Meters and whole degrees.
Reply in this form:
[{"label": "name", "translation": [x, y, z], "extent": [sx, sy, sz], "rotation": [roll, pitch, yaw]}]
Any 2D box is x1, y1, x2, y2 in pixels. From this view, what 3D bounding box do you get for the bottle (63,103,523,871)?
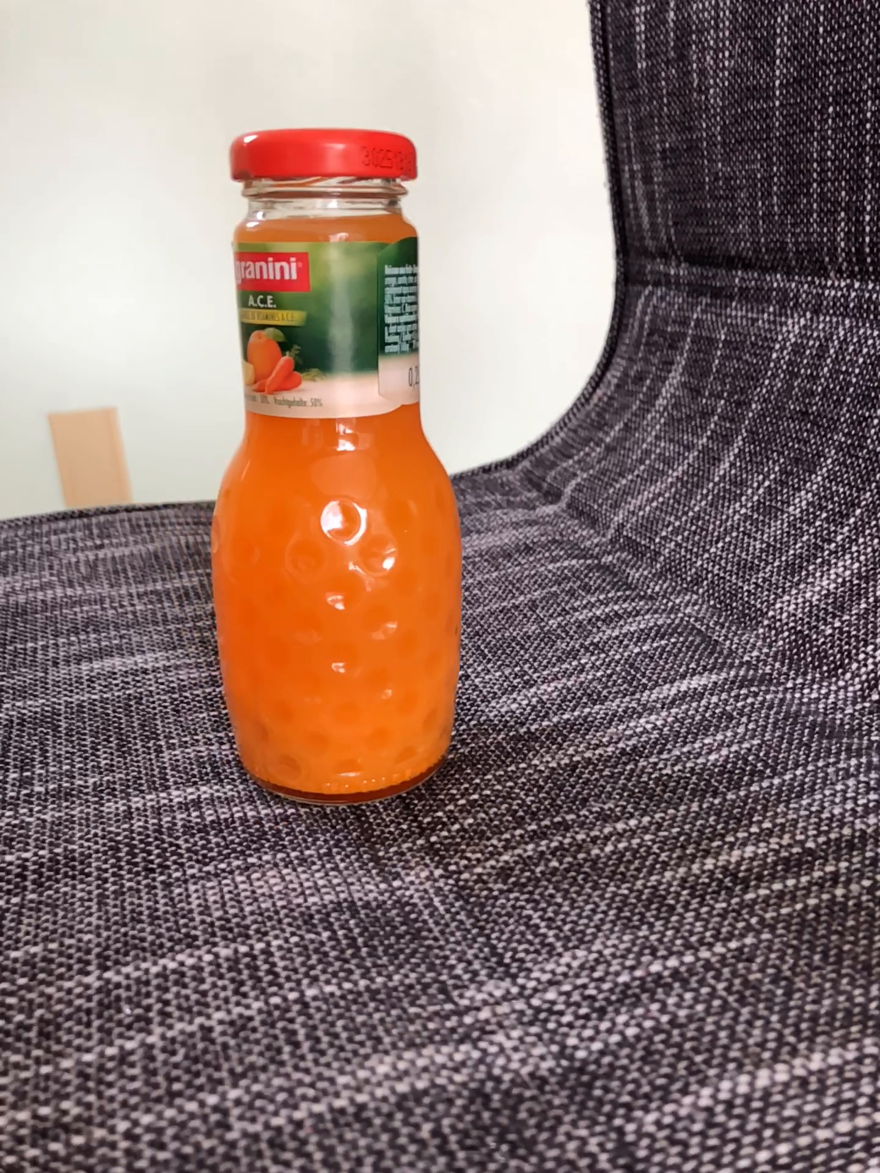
[{"label": "bottle", "translation": [-0.029, -0.025, 0.228], "extent": [0.070, 0.149, 0.060], "rotation": [15, 27, 41]}]
